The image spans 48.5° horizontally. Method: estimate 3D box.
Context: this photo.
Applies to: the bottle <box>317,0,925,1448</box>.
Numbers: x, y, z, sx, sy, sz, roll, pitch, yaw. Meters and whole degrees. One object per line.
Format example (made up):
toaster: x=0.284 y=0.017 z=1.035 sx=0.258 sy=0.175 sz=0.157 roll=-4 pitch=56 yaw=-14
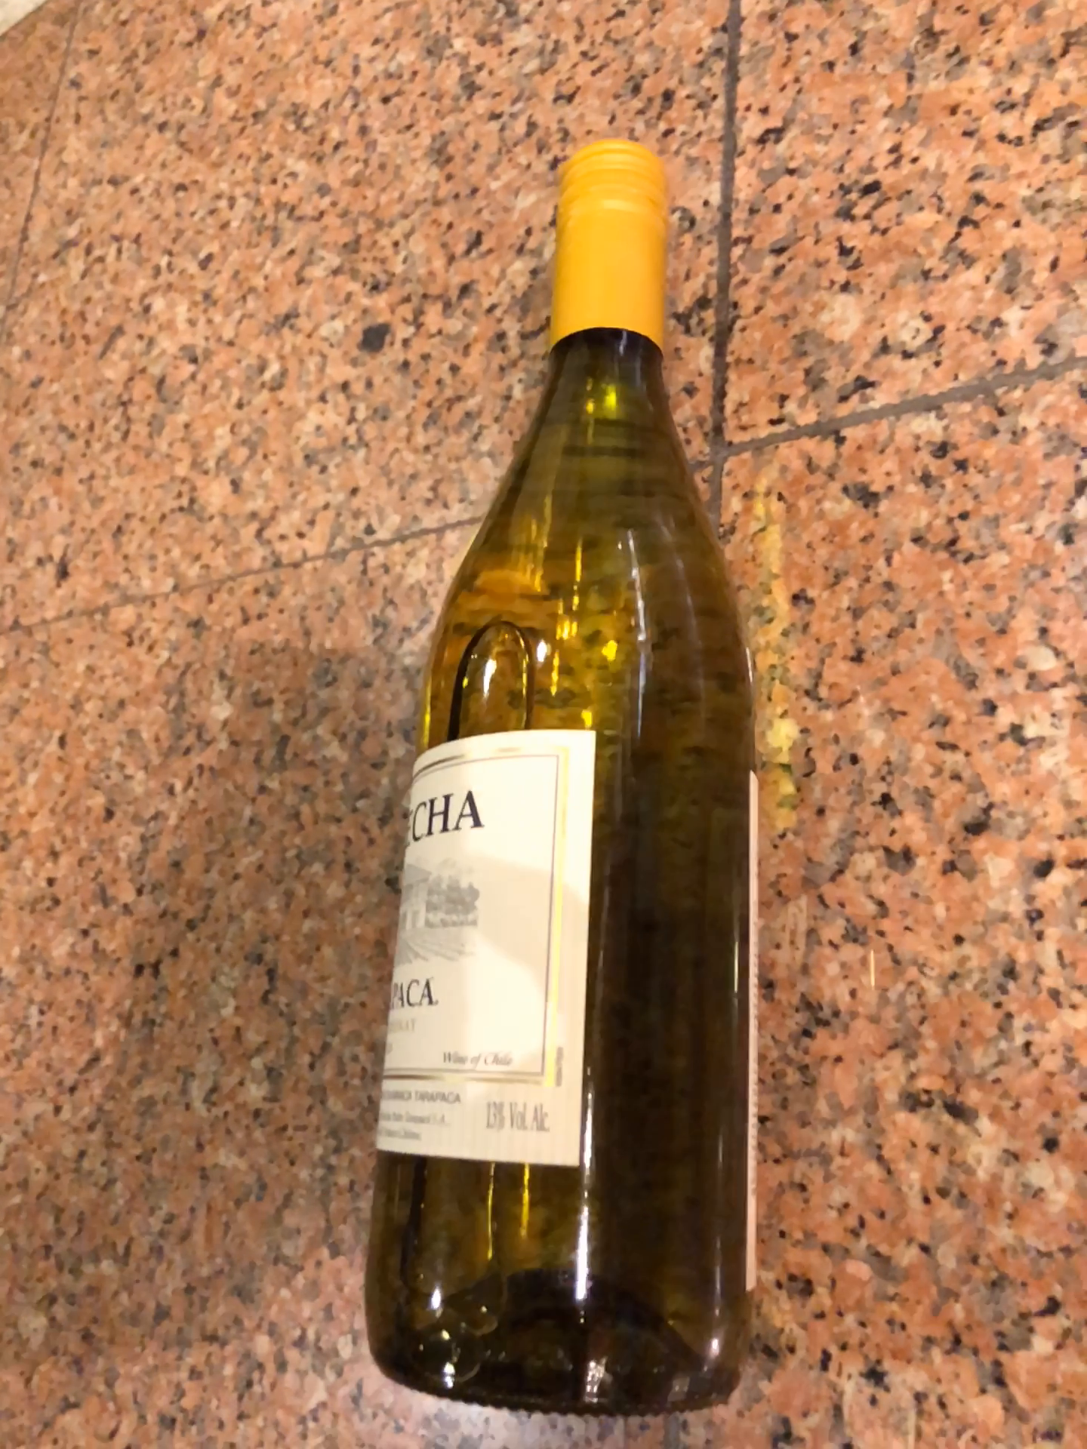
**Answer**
bottle: x=0.025 y=-0.020 z=0.279 sx=0.090 sy=0.070 sz=0.340 roll=-9 pitch=68 yaw=34
